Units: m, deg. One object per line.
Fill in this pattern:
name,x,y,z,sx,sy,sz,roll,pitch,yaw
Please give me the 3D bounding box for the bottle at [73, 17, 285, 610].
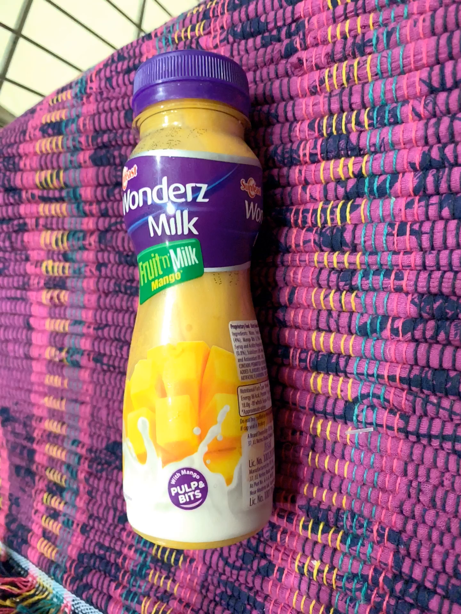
bottle,-0.015,0.001,0.153,0.050,0.040,0.150,-3,85,35
